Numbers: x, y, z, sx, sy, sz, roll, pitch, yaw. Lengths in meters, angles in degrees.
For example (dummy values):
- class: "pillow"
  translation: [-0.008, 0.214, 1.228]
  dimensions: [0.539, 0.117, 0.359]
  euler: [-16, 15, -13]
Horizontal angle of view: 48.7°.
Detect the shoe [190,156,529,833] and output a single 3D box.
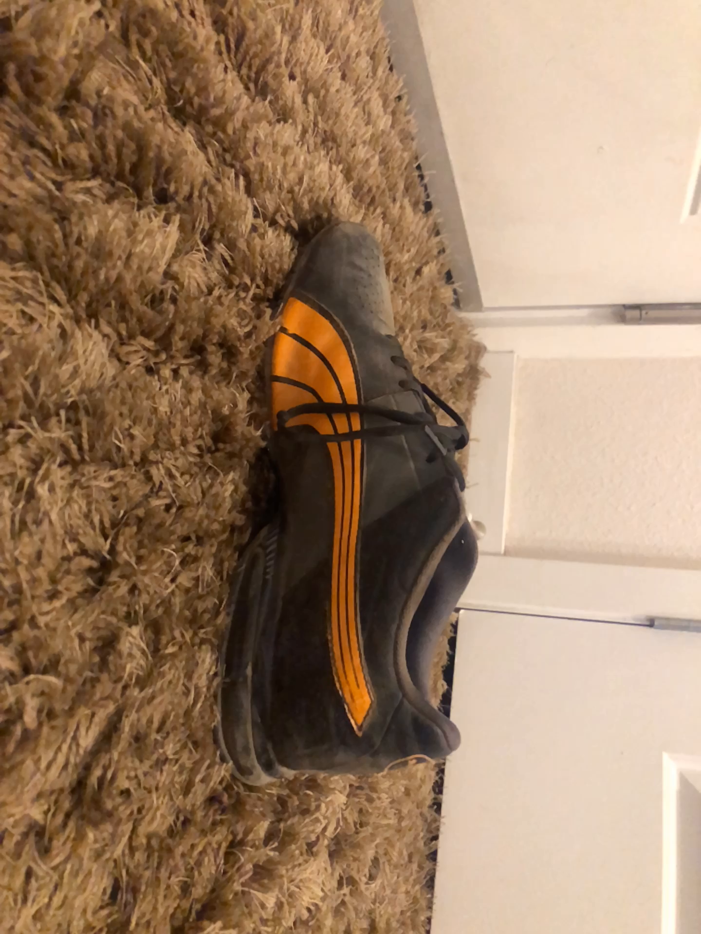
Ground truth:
- class: "shoe"
  translation: [0.024, 0.009, 0.396]
  dimensions: [0.123, 0.109, 0.300]
  euler: [55, 41, -66]
